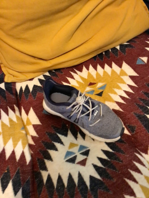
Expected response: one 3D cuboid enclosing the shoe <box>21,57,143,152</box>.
[{"bbox_3d":[0.012,0.004,0.336,0.211,0.074,0.094,25,59,16],"label":"shoe"}]
